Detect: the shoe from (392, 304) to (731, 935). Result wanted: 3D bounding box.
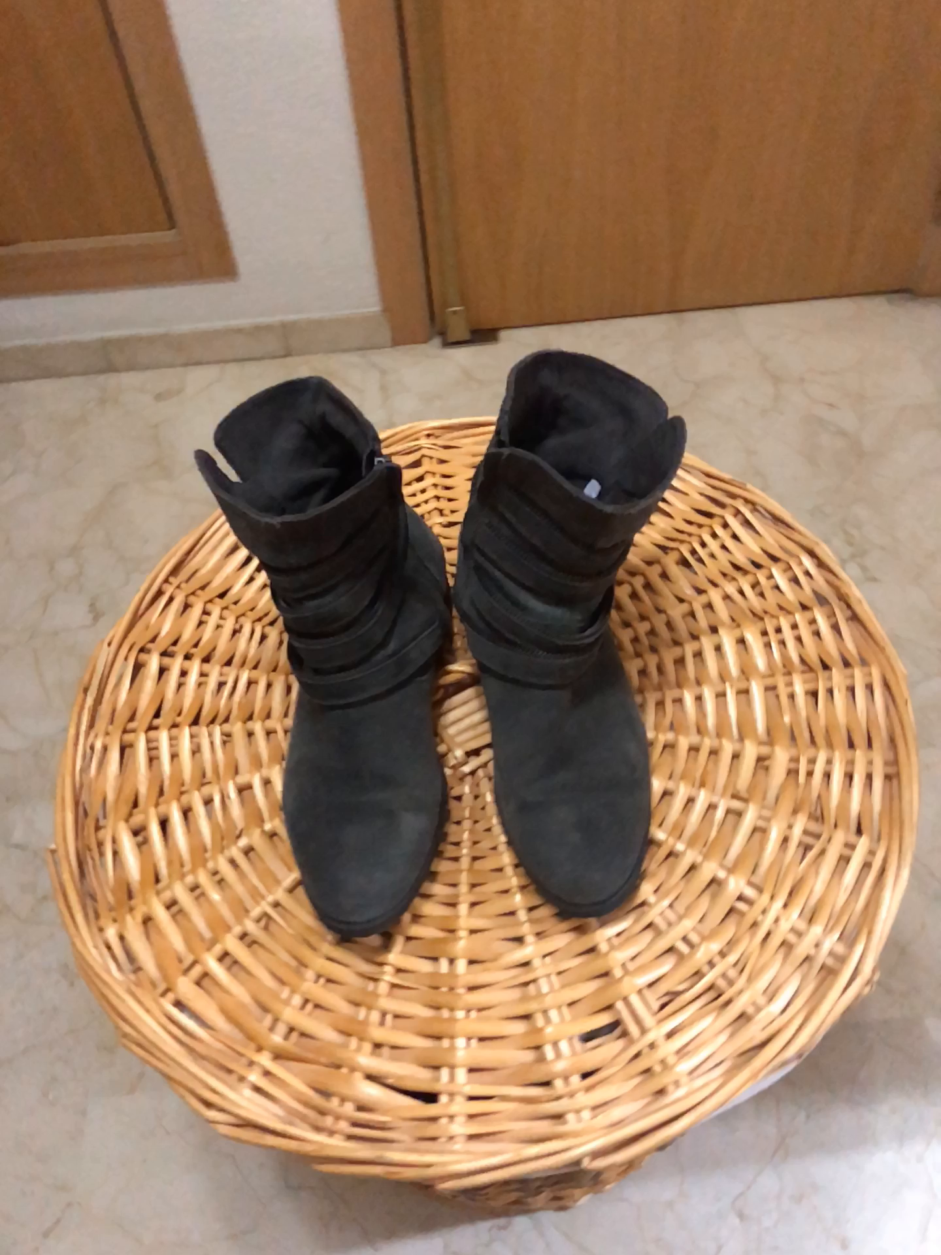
[{"bbox_3d":[0.031,-0.008,0.527,0.110,0.170,0.261,-6,53,-1],"label":"shoe"}]

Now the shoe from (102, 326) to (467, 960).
[{"bbox_3d":[-0.084,0.006,0.534,0.110,0.170,0.261,-11,53,4],"label":"shoe"}]
